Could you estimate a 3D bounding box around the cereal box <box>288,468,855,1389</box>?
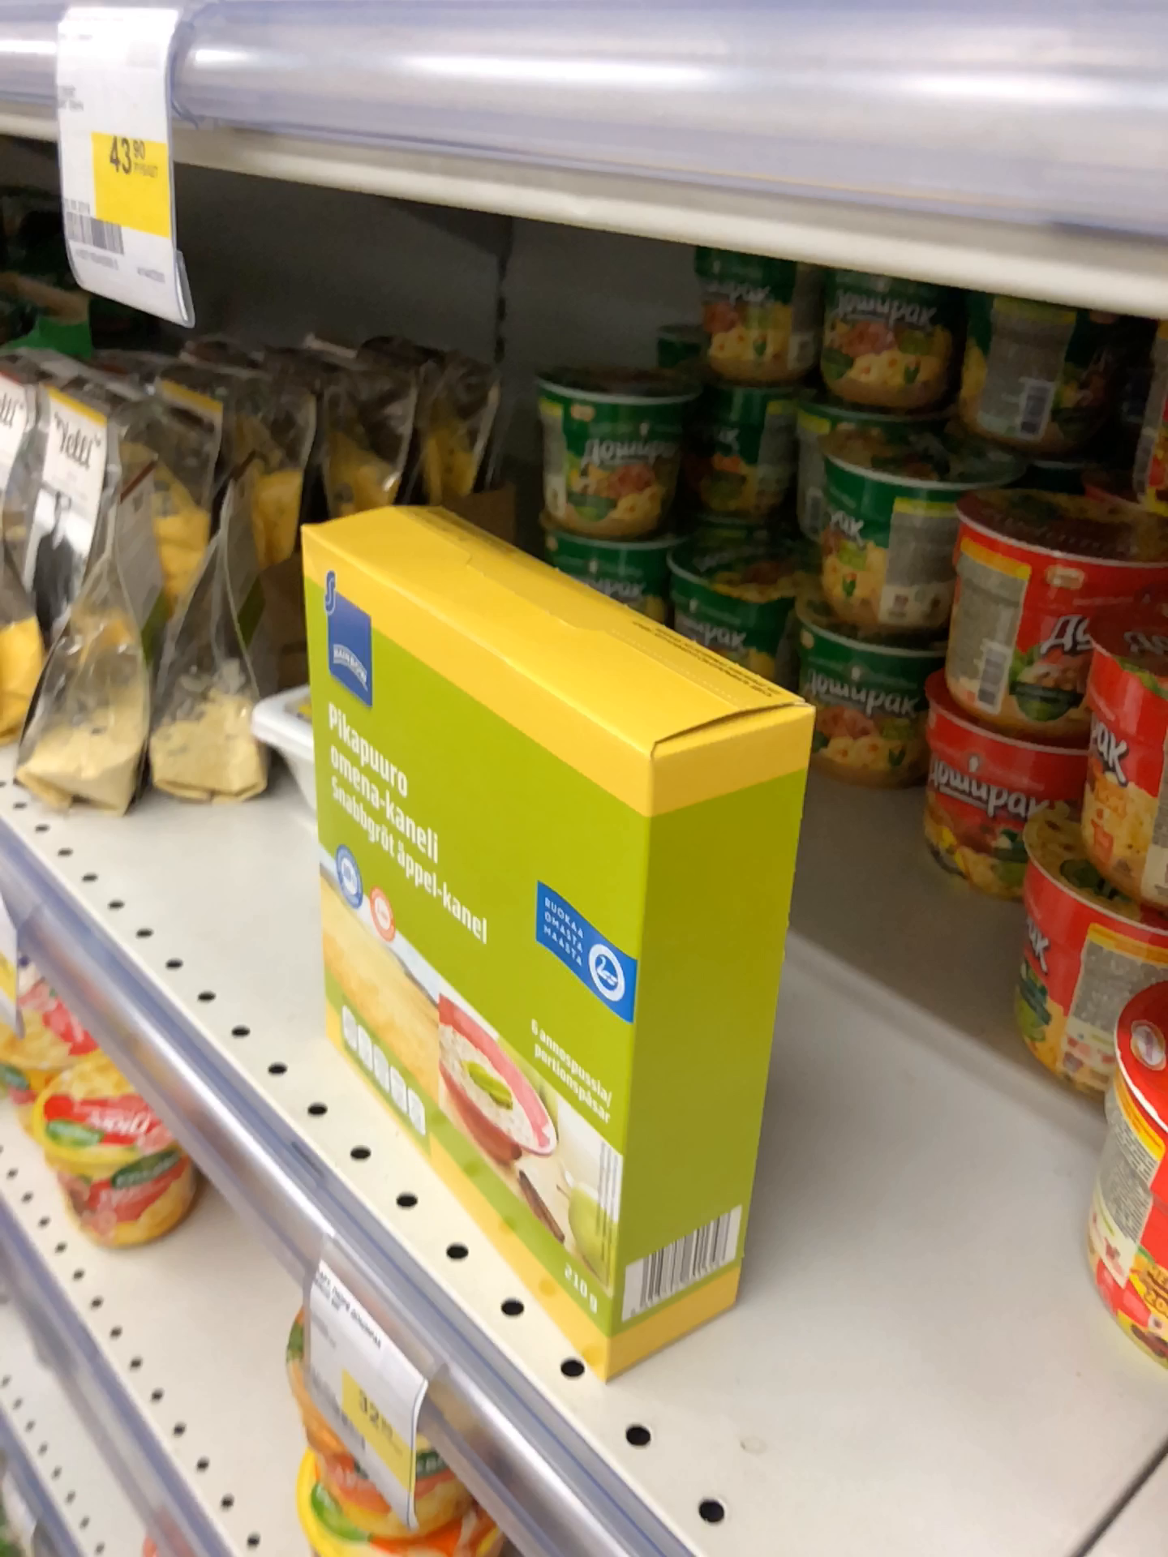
[{"bbox_3d":[-0.018,0.030,0.358,0.050,0.189,0.171,-15,33,-32],"label":"cereal box"}]
